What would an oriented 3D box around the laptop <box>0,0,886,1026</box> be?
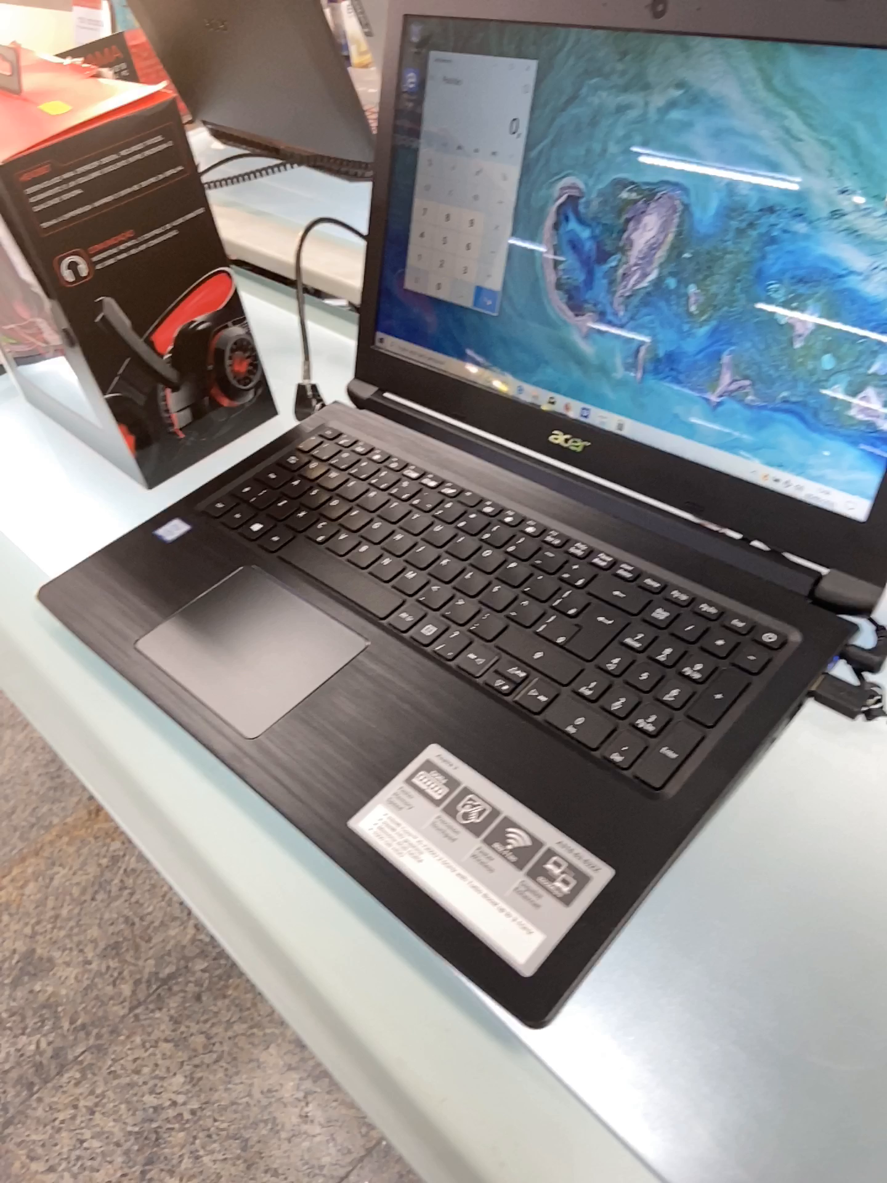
[{"bbox_3d":[0.002,-0.106,0.427,0.376,0.227,0.353,29,55,36],"label":"laptop"}]
